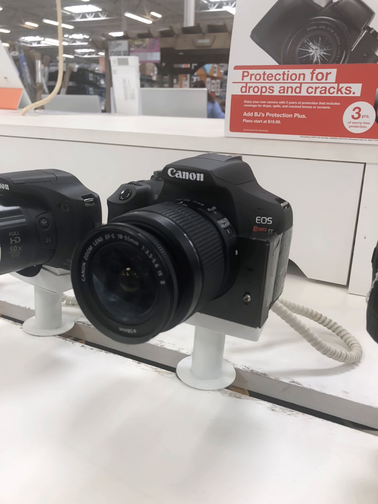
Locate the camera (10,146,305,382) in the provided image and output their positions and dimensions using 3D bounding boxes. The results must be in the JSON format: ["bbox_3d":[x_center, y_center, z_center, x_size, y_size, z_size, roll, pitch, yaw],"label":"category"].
[{"bbox_3d":[-0.009,-0.011,0.266,0.130,0.092,0.132,10,20,23],"label":"camera"}]
